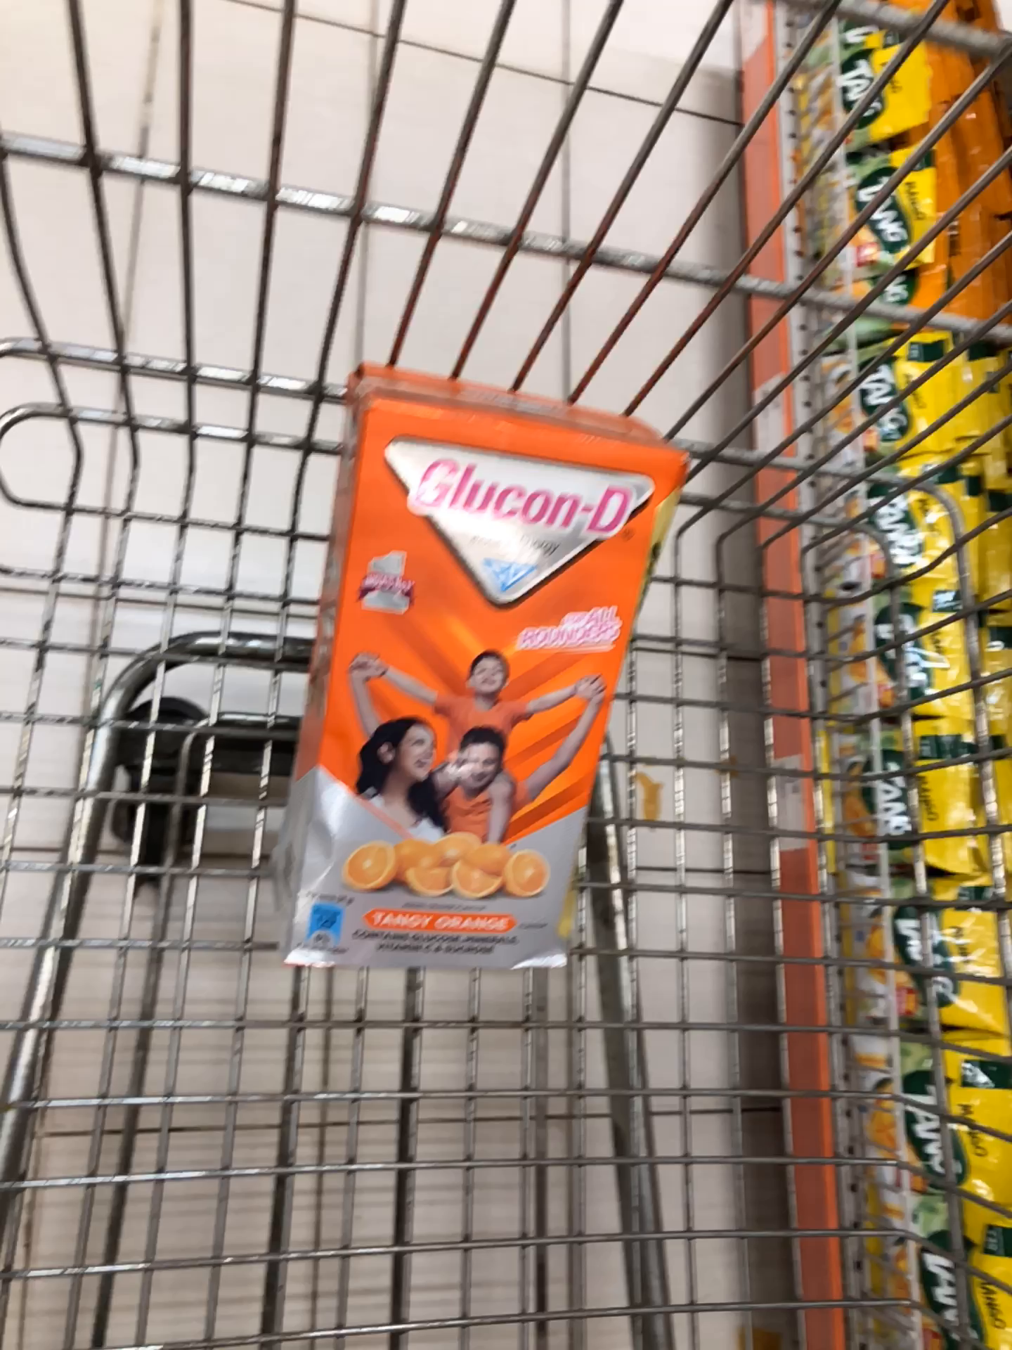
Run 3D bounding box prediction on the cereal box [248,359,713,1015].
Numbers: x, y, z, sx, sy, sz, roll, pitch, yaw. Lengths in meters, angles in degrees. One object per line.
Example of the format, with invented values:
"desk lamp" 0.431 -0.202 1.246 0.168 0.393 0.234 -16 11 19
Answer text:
"cereal box" -0.021 0.003 0.412 0.120 0.100 0.210 6 105 -15
